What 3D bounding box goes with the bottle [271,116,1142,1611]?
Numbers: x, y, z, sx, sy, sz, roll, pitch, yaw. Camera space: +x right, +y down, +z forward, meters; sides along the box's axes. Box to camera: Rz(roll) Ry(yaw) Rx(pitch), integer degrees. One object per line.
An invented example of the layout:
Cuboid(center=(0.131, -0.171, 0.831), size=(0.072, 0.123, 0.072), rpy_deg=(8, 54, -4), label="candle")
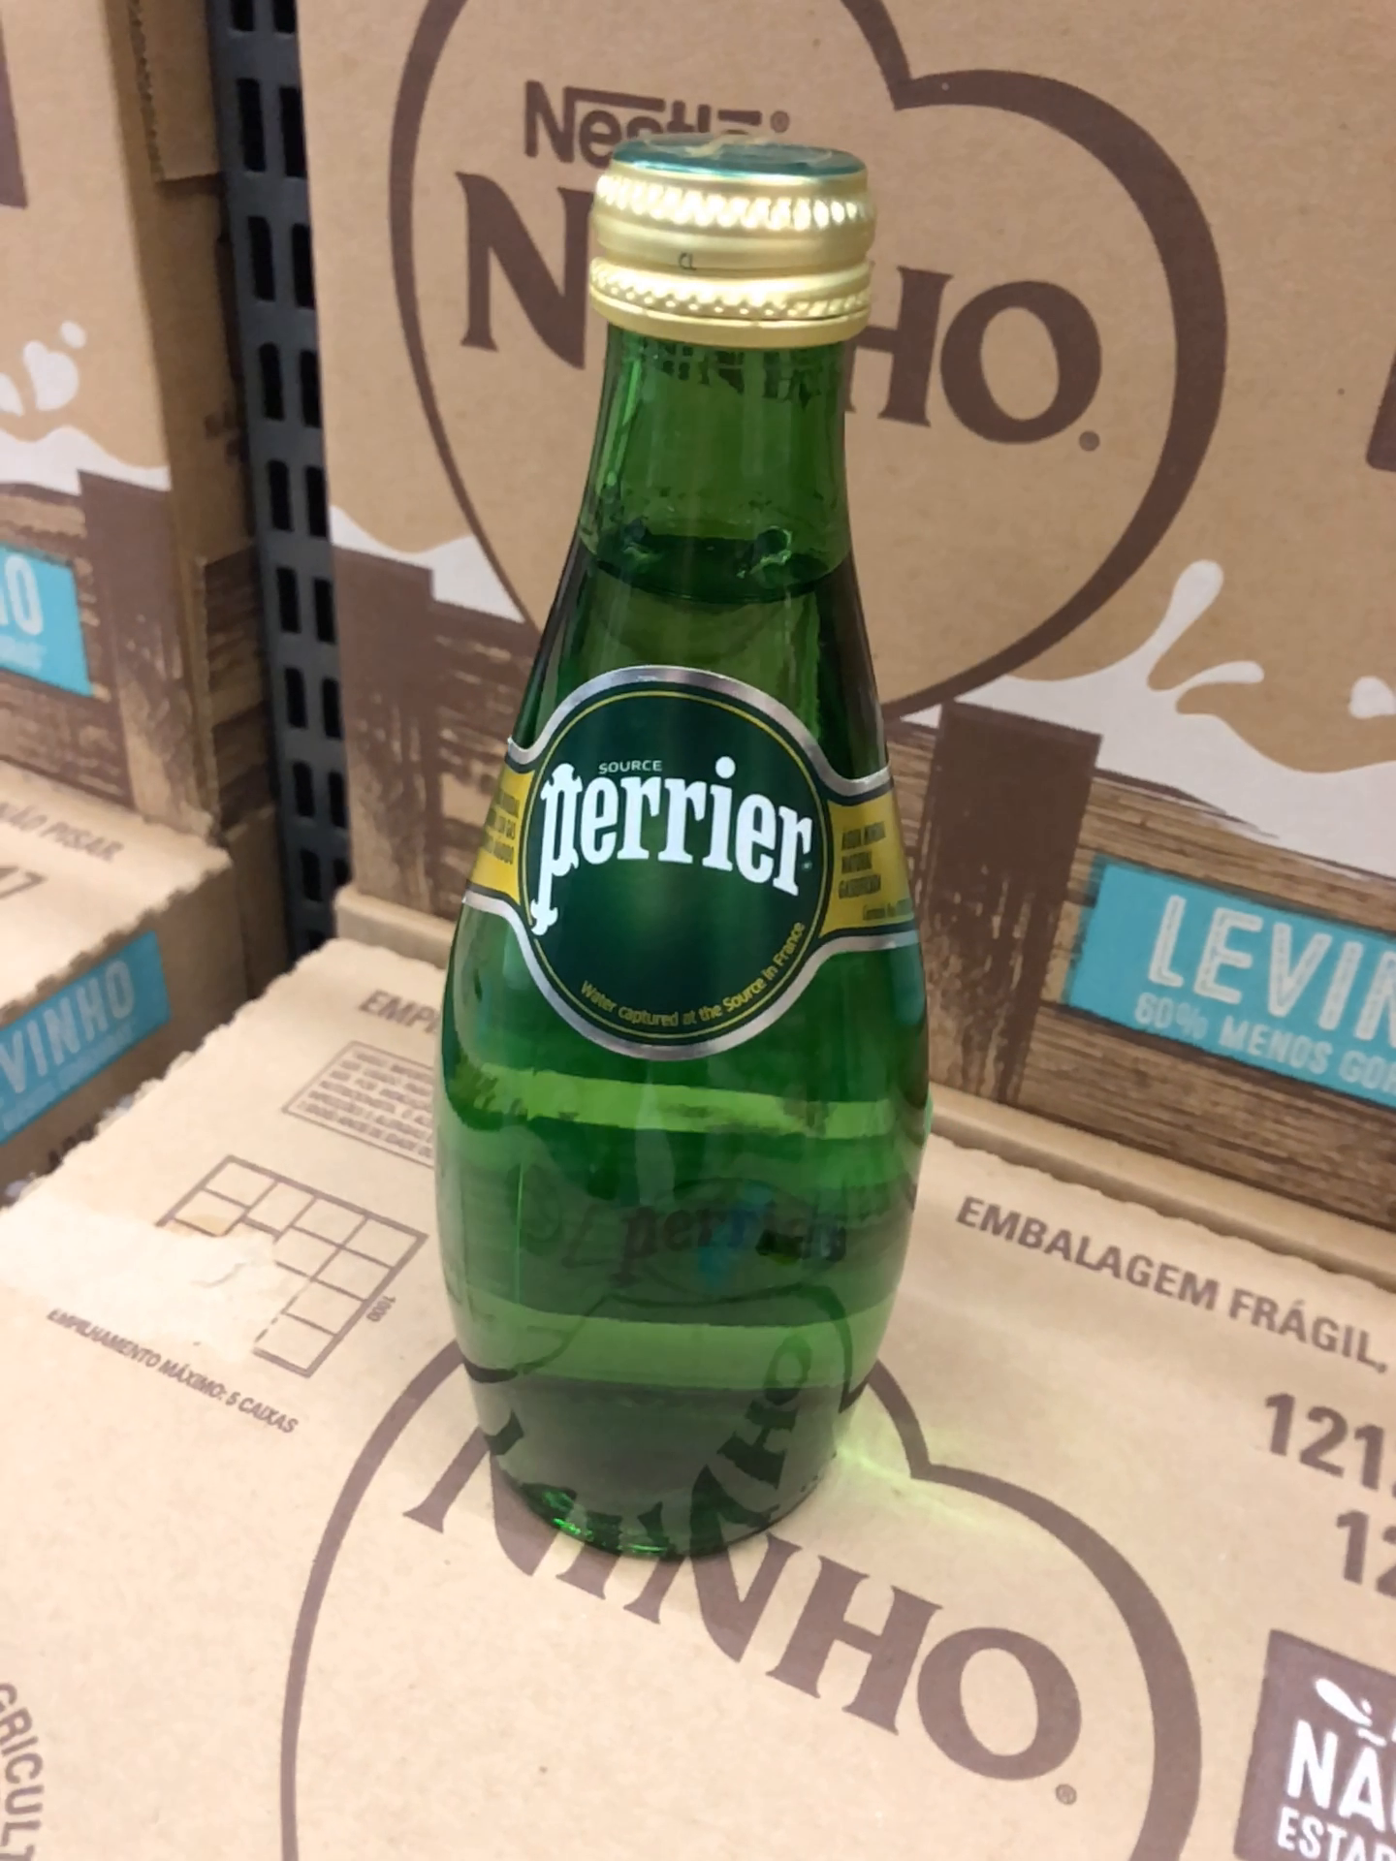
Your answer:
Cuboid(center=(-0.002, 0.002, 0.199), size=(0.070, 0.179, 0.060), rpy_deg=(5, 33, 2), label="bottle")
